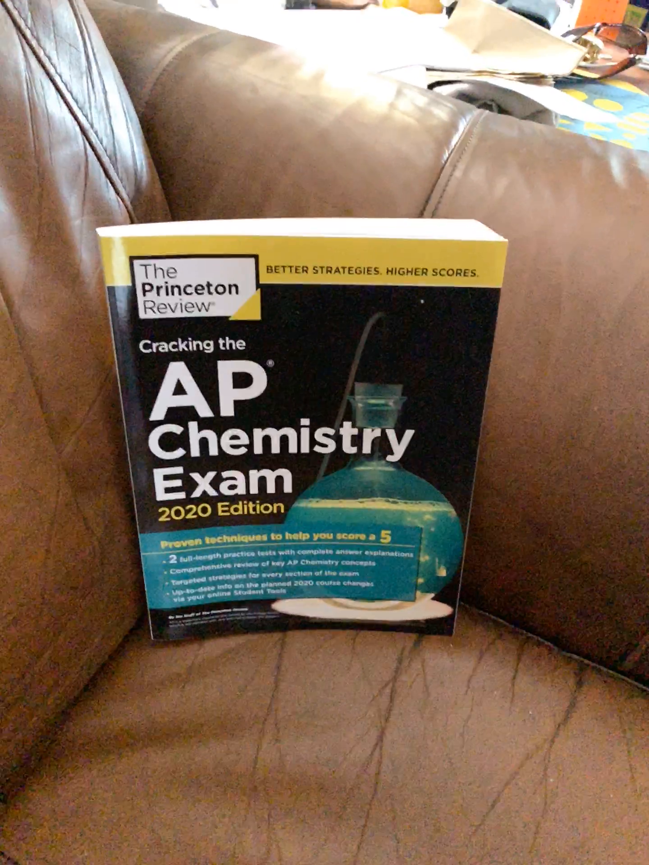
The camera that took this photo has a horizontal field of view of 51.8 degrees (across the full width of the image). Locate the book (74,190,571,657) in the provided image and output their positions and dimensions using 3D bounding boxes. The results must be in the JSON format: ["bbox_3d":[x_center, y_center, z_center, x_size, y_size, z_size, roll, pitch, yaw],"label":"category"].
[{"bbox_3d":[-0.007,0.020,0.425,0.240,0.319,0.040,0,34,-6],"label":"book"}]
